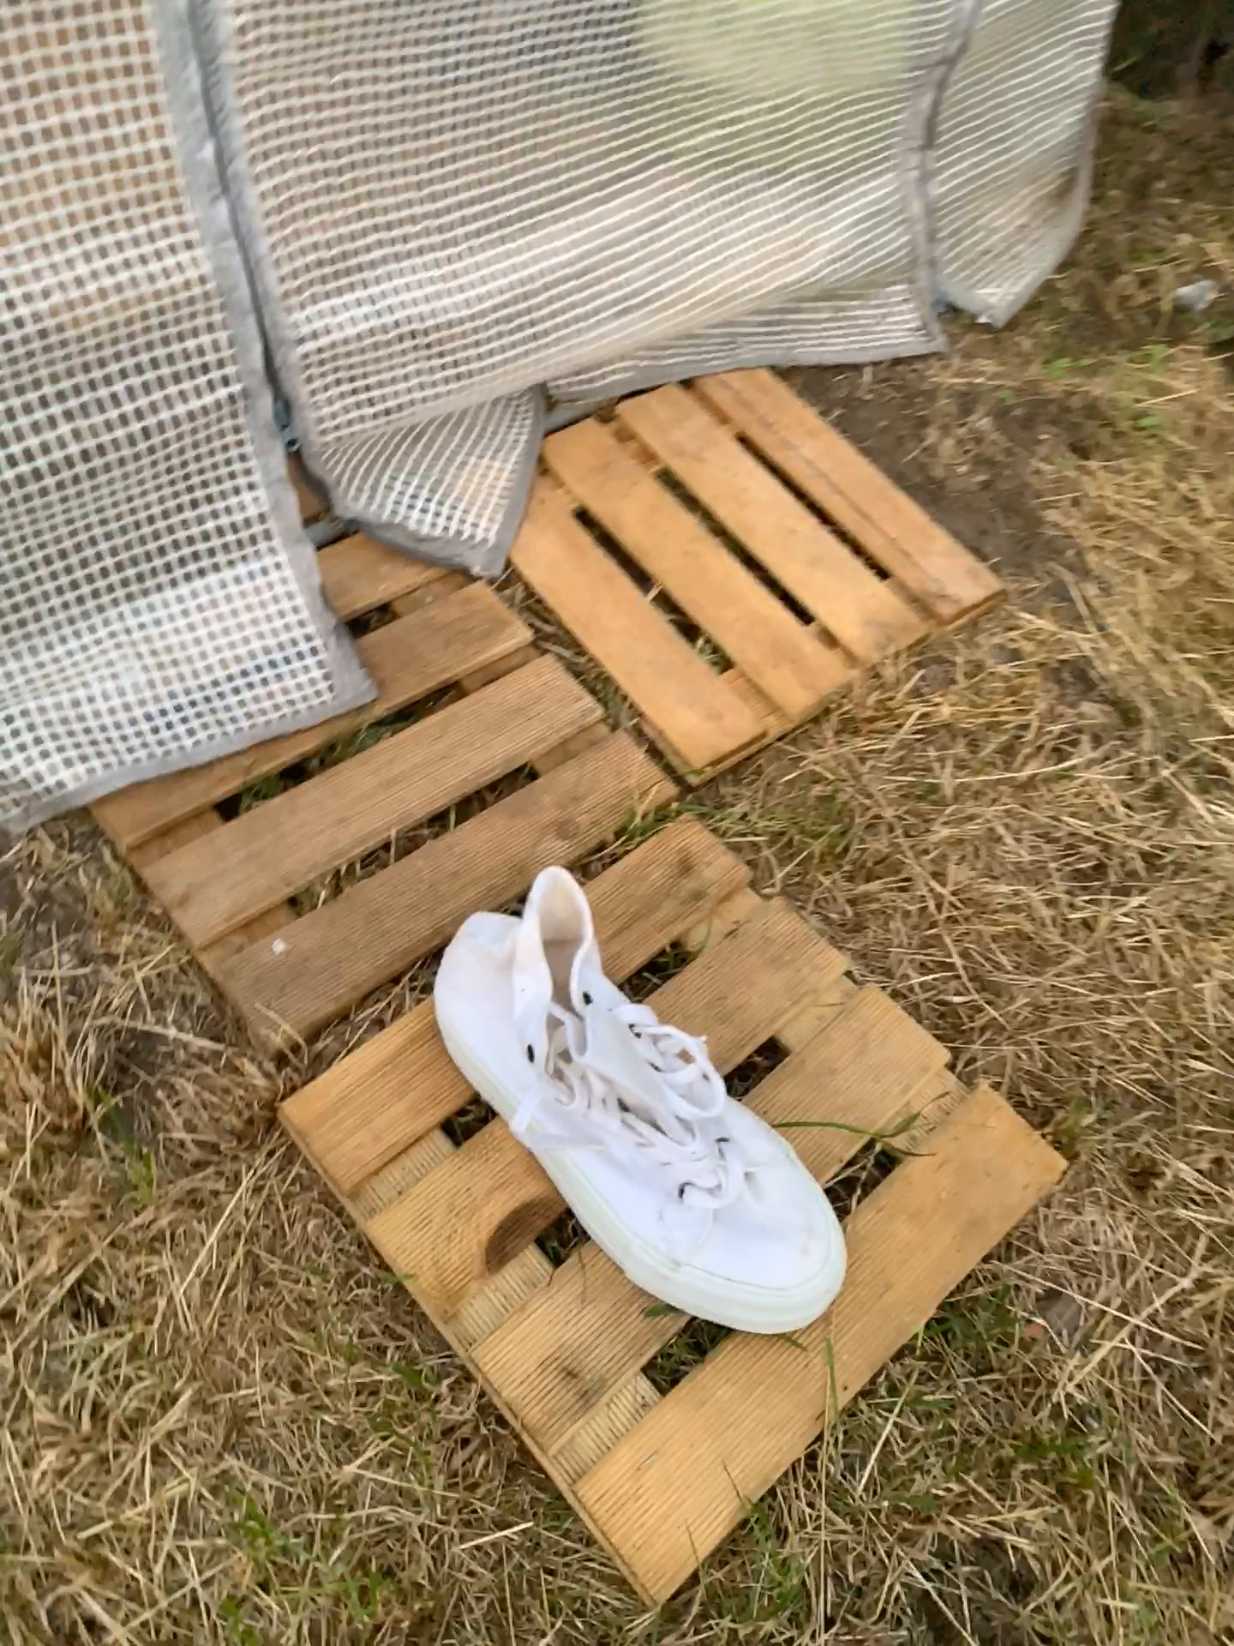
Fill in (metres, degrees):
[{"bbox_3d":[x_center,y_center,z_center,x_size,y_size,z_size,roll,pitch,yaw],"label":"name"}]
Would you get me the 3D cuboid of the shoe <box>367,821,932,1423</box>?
[{"bbox_3d":[0.005,0.135,0.605,0.100,0.109,0.261,-36,60,-26],"label":"shoe"}]
